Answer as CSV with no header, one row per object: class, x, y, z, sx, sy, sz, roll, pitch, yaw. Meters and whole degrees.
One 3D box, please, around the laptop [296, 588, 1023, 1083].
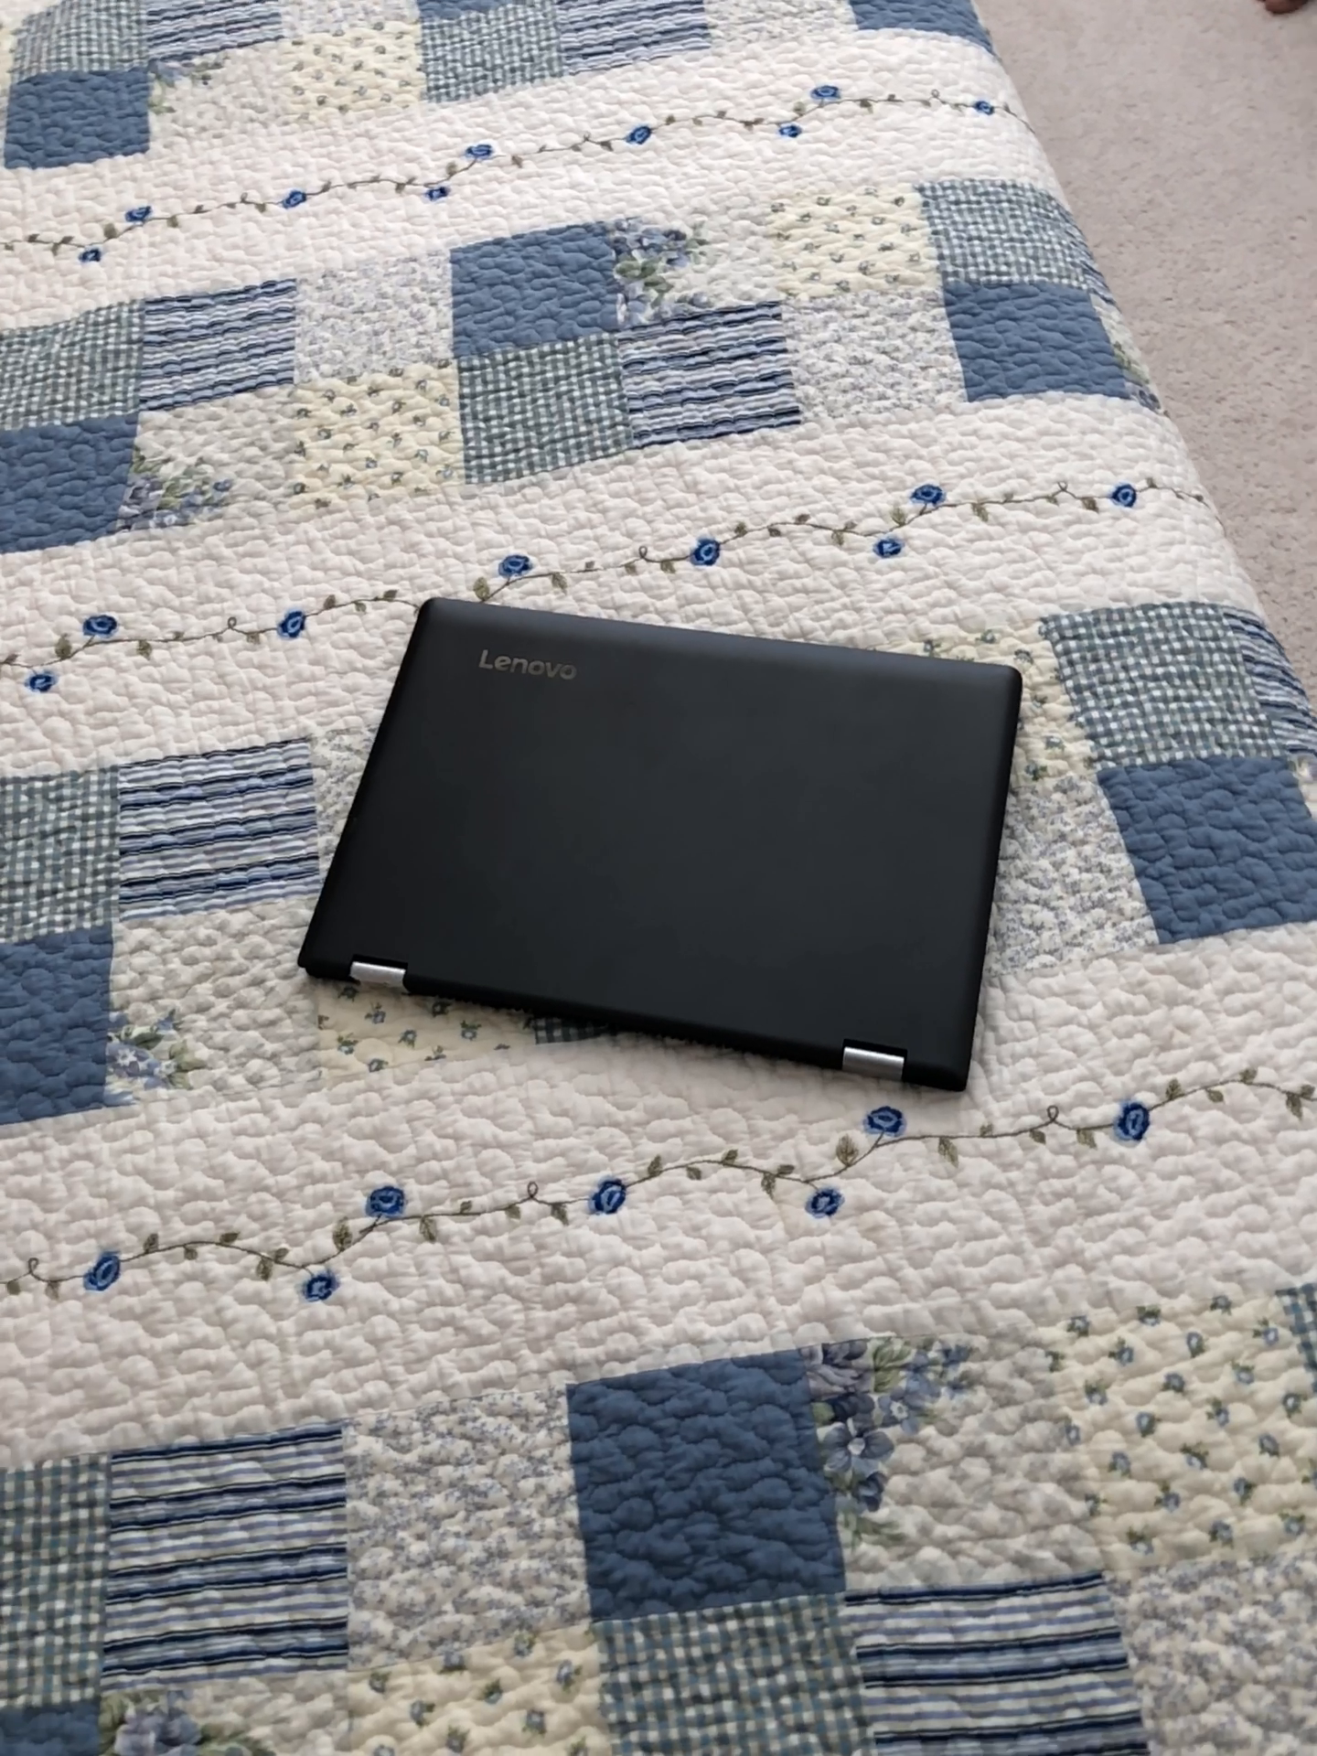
laptop,0.004,-0.033,0.721,0.320,0.008,0.224,9,66,11
